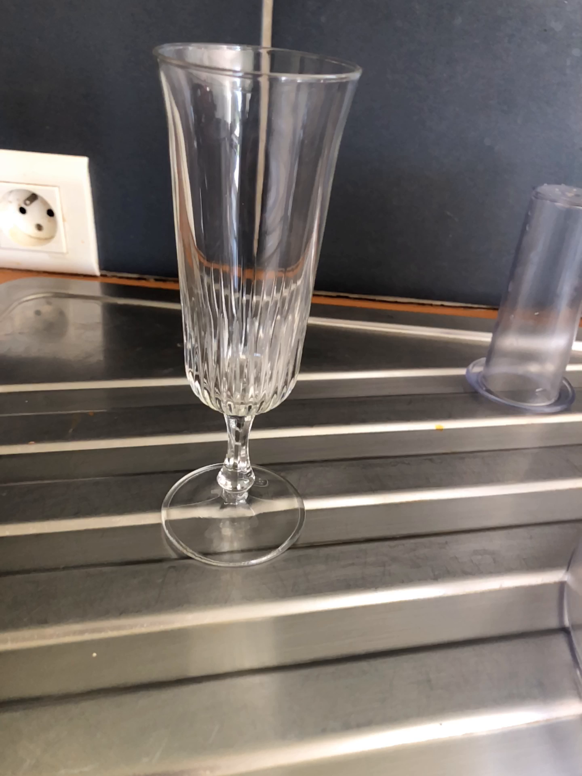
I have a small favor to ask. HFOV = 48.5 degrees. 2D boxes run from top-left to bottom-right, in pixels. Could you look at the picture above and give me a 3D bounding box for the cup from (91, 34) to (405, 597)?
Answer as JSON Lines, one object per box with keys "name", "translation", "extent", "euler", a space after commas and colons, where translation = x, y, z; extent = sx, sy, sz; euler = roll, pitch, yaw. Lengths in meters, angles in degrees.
{"name": "cup", "translation": [-0.015, -0.021, 0.219], "extent": [0.060, 0.169, 0.060], "euler": [3, 32, -2]}
